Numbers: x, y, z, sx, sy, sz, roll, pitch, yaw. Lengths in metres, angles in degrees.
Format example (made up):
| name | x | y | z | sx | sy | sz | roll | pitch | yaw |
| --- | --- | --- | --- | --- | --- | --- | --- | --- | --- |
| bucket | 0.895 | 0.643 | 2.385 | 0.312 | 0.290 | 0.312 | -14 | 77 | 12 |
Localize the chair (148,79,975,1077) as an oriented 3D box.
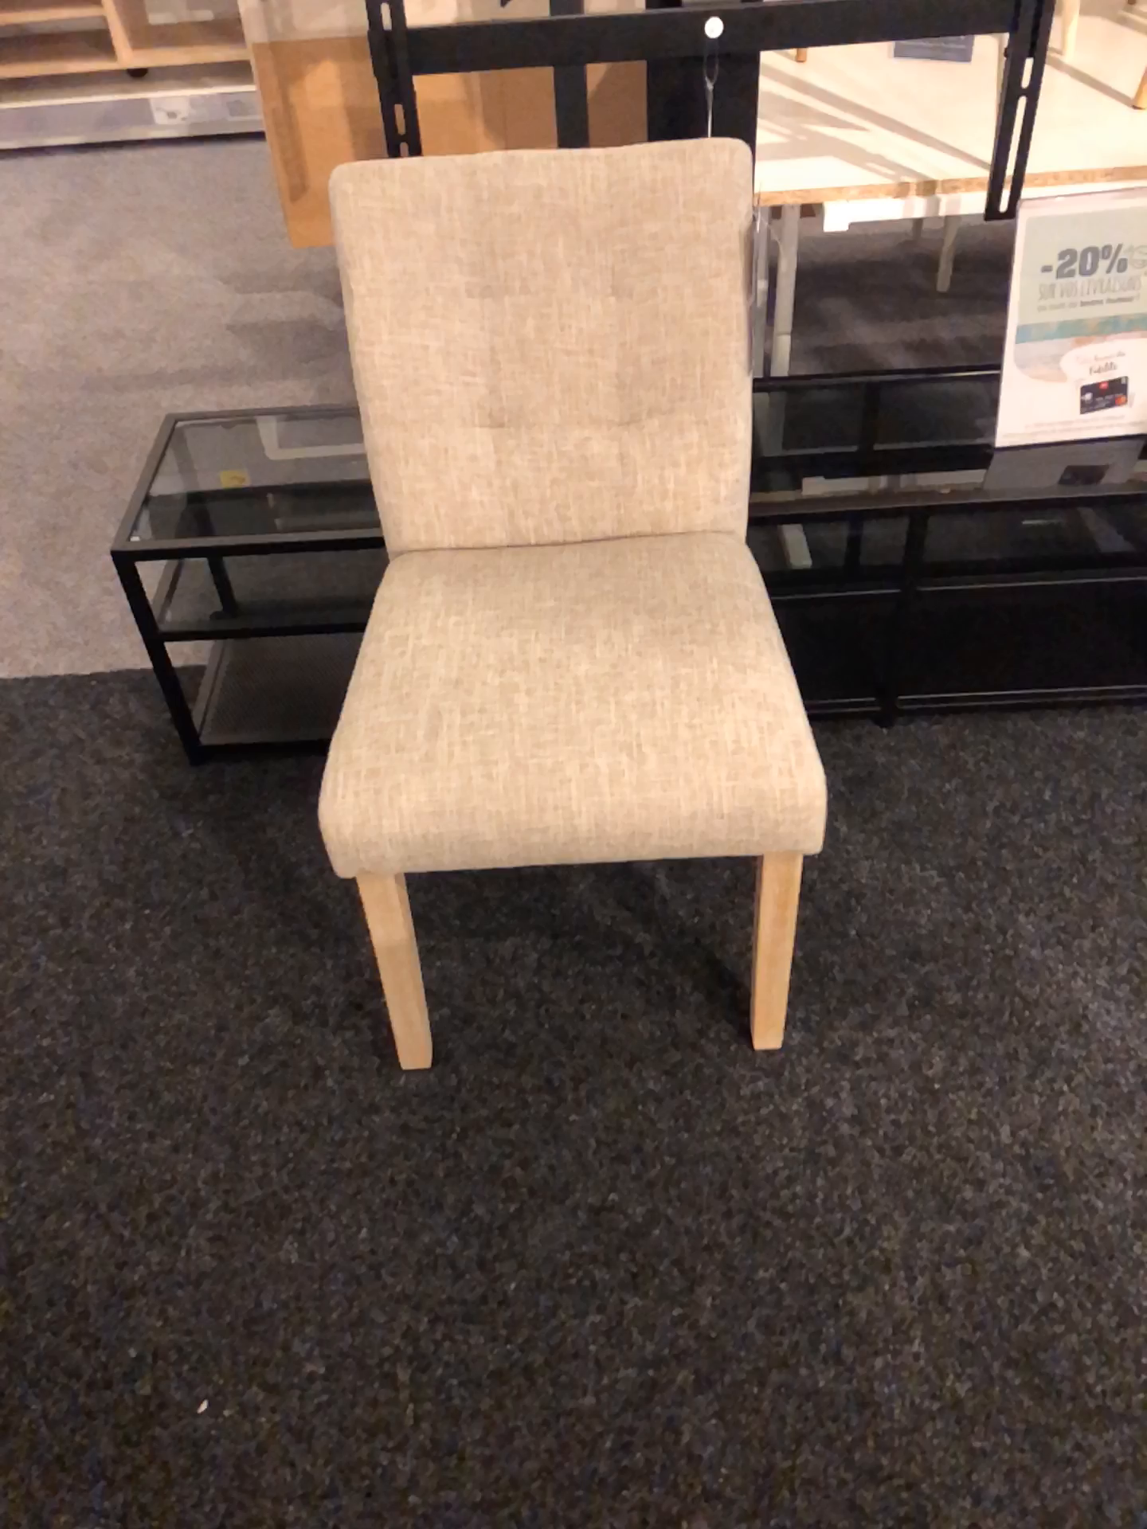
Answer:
| name | x | y | z | sx | sy | sz | roll | pitch | yaw |
| --- | --- | --- | --- | --- | --- | --- | --- | --- | --- |
| chair | 0.004 | -0.158 | 1.333 | 0.550 | 0.856 | 0.563 | -3 | 44 | 1 |
